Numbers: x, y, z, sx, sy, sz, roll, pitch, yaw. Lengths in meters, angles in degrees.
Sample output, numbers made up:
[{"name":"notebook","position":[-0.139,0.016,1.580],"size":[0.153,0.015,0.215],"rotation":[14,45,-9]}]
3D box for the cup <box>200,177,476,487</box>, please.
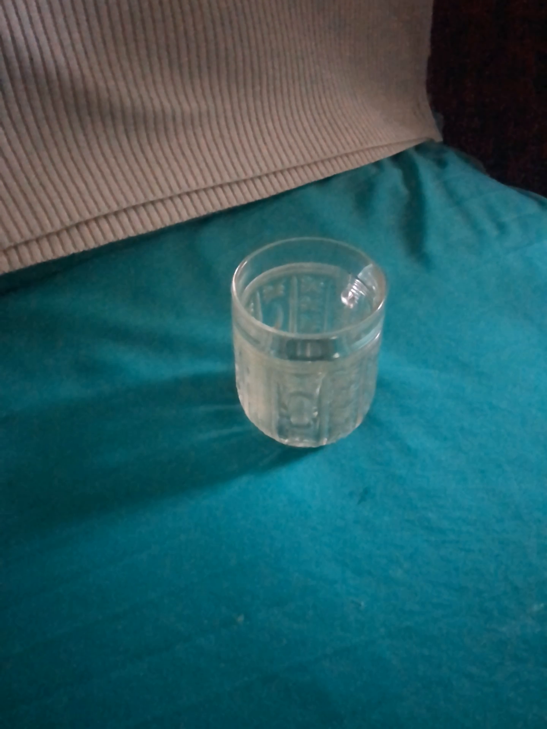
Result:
[{"name":"cup","position":[0.028,-0.017,0.275],"size":[0.064,0.076,0.104],"rotation":[33,56,21]}]
